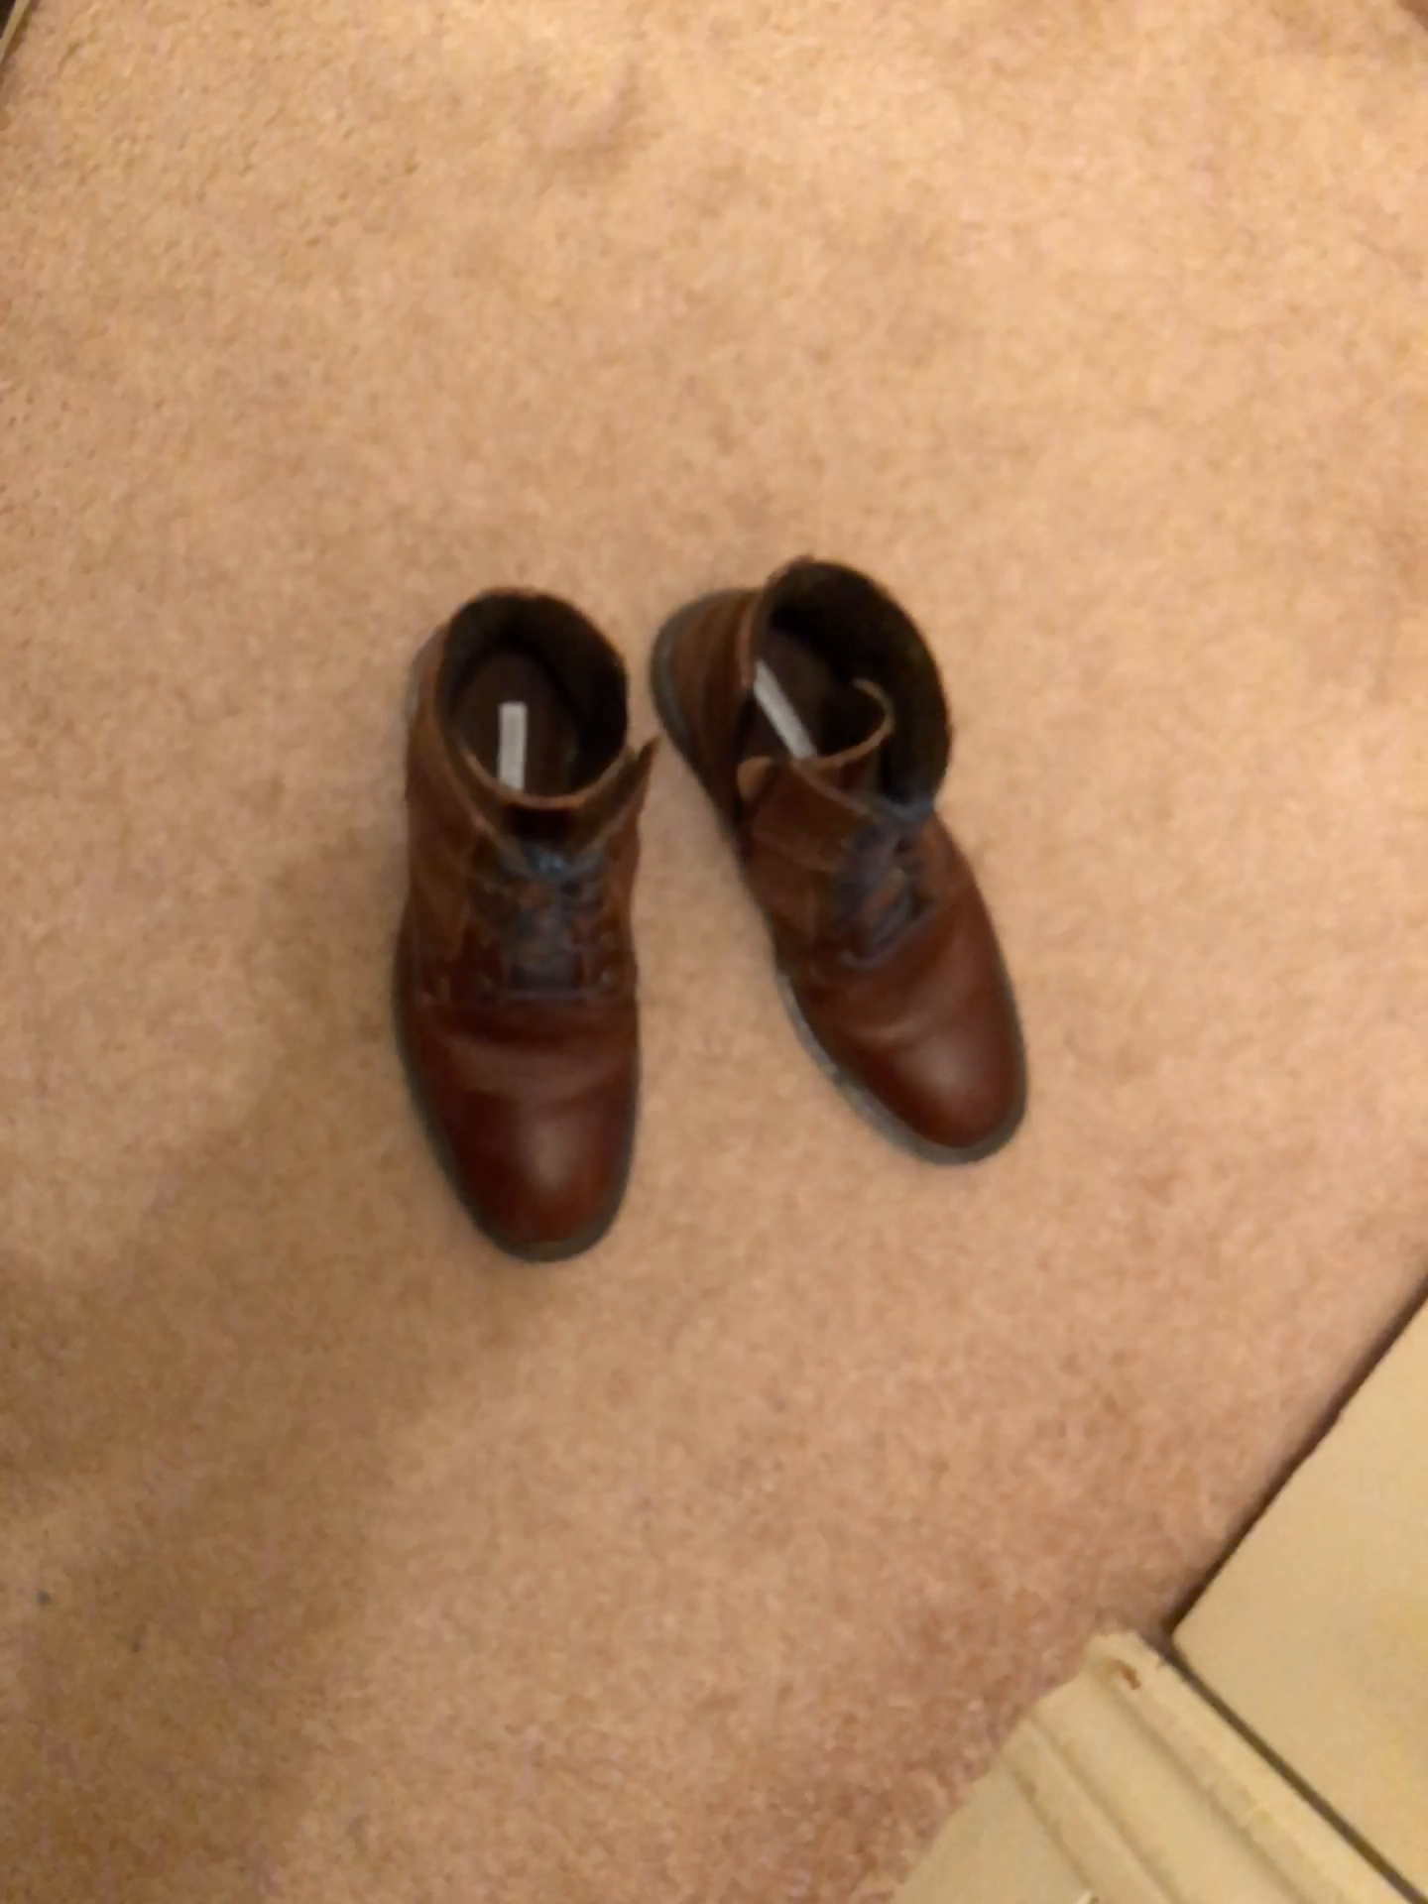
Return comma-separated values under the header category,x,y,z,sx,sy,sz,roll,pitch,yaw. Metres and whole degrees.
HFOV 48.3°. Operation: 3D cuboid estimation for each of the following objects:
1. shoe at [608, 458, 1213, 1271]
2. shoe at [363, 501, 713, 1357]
category,x,y,z,sx,sy,sz,roll,pitch,yaw
shoe,0.076,-0.035,0.711,0.110,0.173,0.301,-26,96,-9
shoe,-0.080,-0.012,0.683,0.113,0.173,0.315,-4,92,-10
